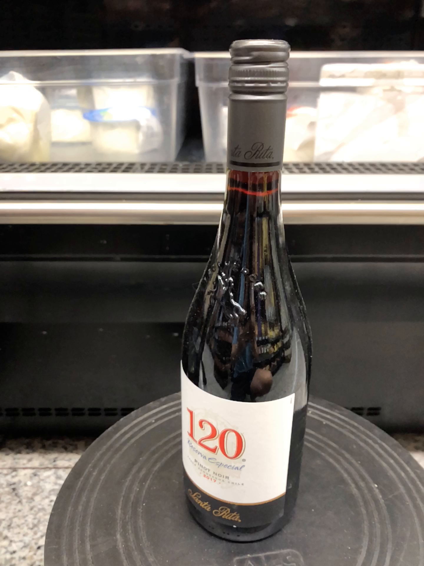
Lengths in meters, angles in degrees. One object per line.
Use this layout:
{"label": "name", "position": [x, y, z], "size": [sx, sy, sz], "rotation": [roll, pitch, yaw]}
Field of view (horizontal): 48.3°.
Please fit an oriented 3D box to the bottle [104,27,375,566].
{"label": "bottle", "position": [0.016, 0.019, 0.274], "size": [0.090, 0.288, 0.090], "rotation": [0, 24, 0]}
